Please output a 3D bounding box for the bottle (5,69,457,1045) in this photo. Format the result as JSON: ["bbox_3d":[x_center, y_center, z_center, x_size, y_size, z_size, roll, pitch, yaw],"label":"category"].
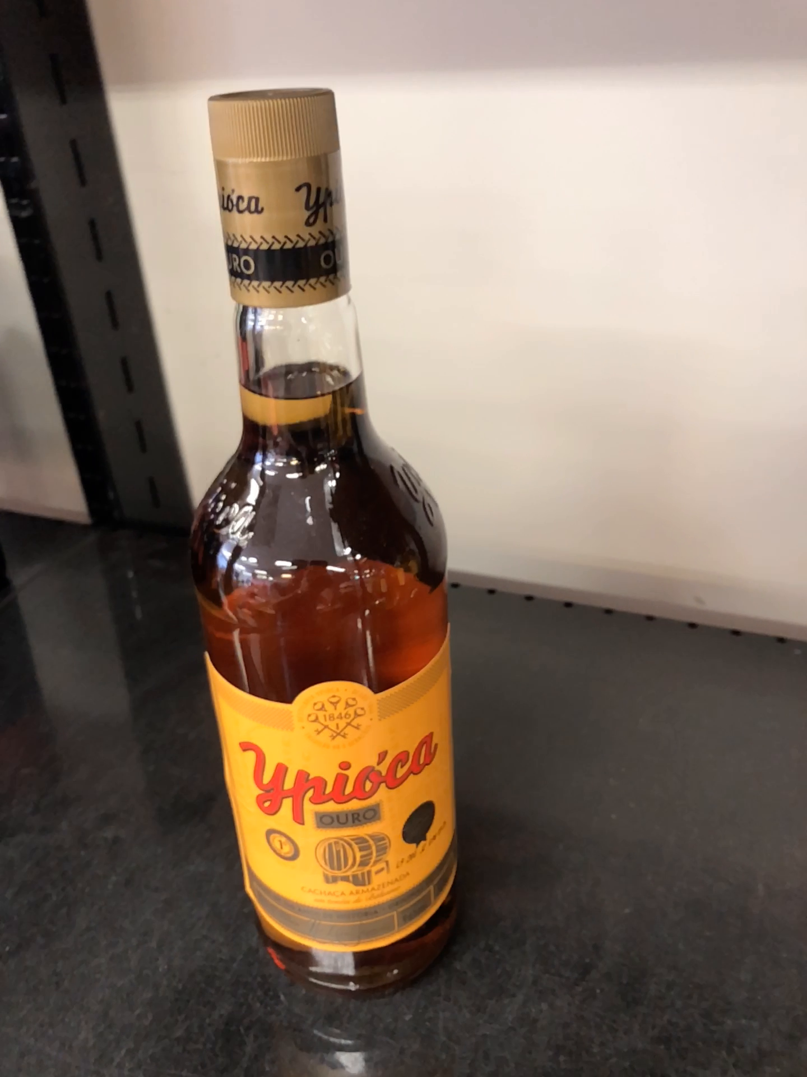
[{"bbox_3d":[-0.031,0.032,0.282,0.080,0.308,0.071,-6,32,-4],"label":"bottle"}]
